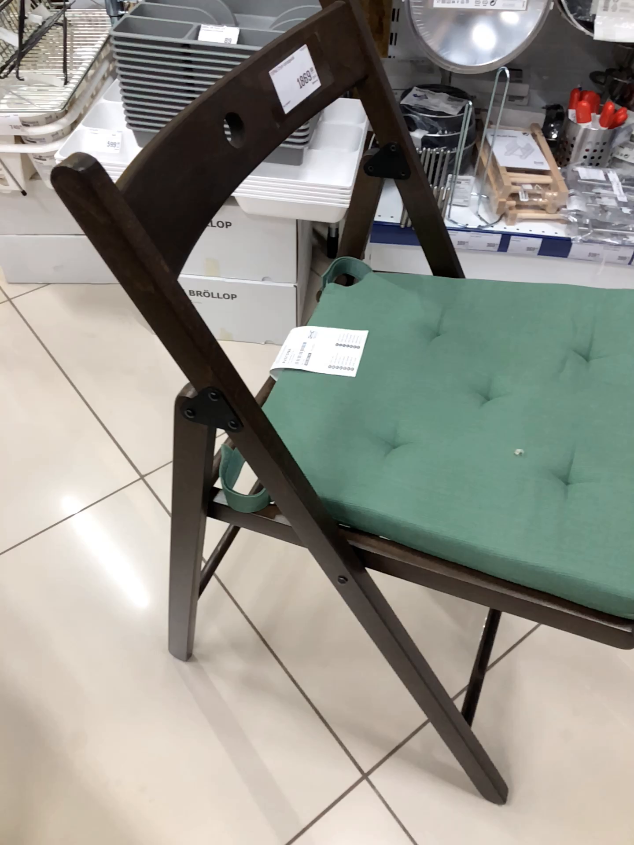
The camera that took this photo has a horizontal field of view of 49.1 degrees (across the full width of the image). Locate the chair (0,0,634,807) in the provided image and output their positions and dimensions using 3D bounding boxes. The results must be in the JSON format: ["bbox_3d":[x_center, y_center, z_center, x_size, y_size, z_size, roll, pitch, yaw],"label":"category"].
[{"bbox_3d":[0.101,-0.007,0.736,0.480,0.686,0.443,18,50,14],"label":"chair"}]
